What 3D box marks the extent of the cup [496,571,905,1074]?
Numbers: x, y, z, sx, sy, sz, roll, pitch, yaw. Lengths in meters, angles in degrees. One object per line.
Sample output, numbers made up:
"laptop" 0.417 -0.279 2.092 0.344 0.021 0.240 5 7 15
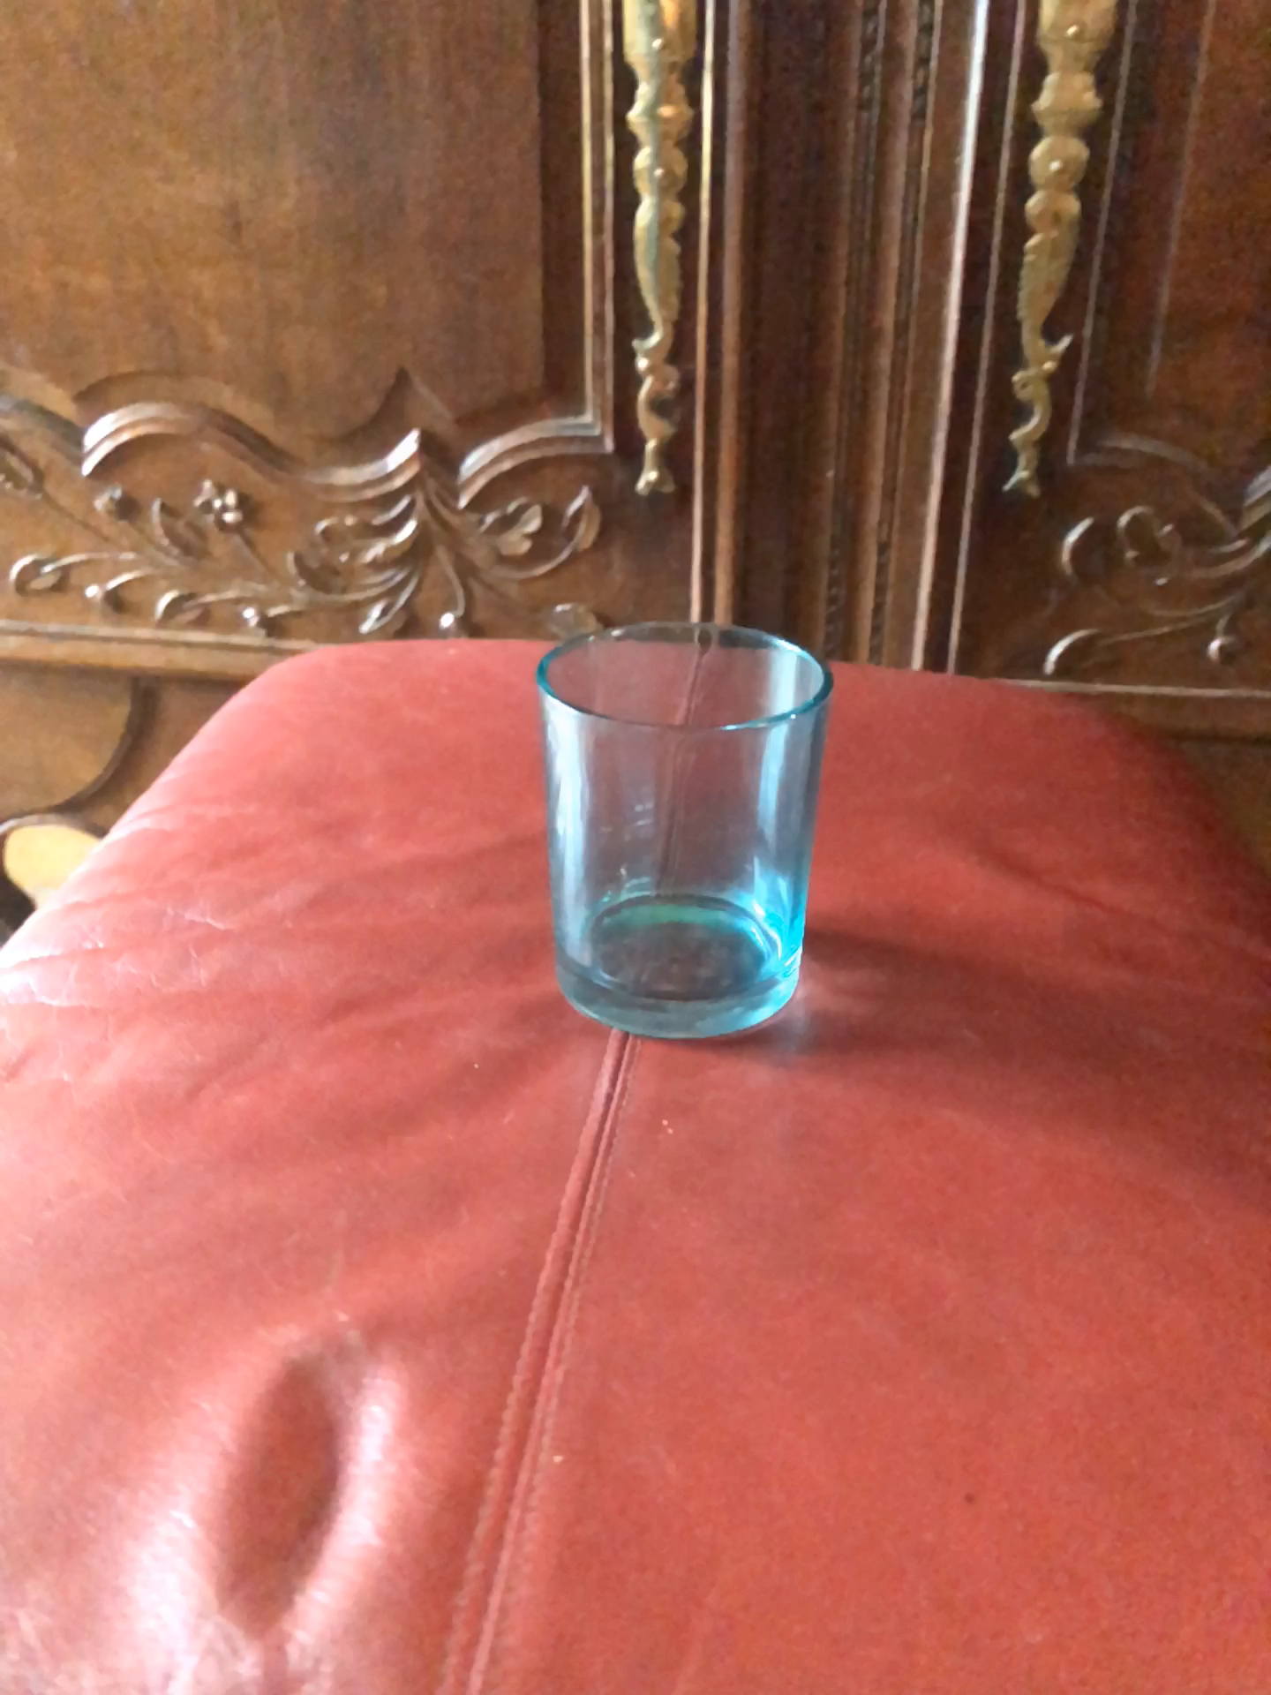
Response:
"cup" 0.013 -0.010 0.344 0.070 0.089 0.070 0 29 0
